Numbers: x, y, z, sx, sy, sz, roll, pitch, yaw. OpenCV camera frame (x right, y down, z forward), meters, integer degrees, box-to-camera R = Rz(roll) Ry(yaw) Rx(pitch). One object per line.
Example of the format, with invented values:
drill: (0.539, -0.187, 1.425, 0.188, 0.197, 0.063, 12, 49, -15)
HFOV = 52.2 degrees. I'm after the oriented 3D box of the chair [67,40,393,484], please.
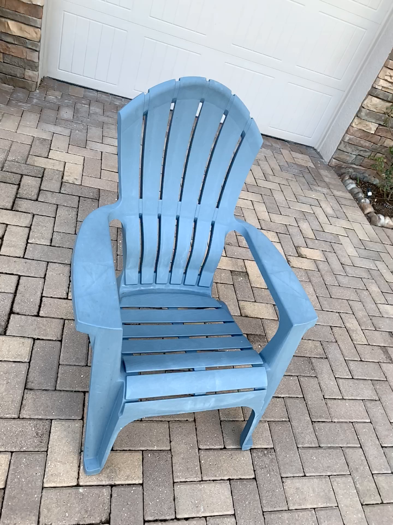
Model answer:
chair: (0.007, 0.024, 1.282, 0.683, 0.985, 0.799, 4, 41, -23)
